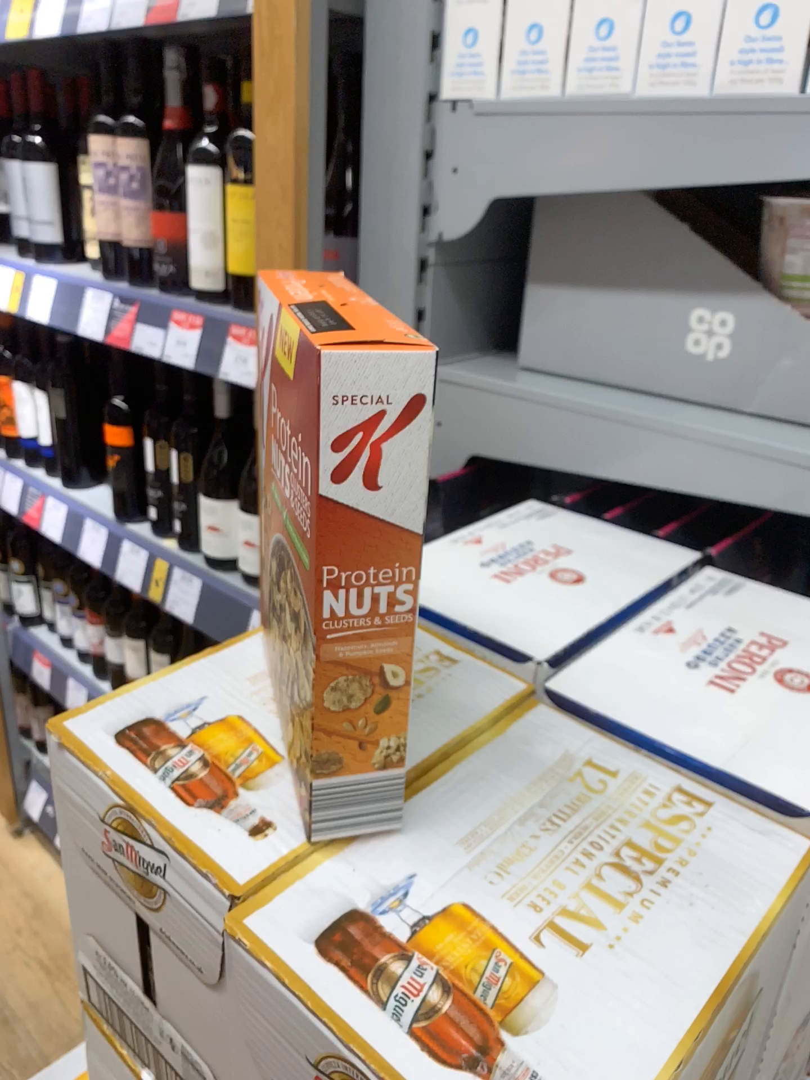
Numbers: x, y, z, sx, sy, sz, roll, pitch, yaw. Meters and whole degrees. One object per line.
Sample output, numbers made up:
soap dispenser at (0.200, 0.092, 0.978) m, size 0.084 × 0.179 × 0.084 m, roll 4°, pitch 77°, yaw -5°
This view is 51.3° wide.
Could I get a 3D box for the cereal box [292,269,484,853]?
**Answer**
cereal box at (-0.023, -0.004, 0.437) m, size 0.050 × 0.238 × 0.192 m, roll -3°, pitch 24°, yaw -13°
